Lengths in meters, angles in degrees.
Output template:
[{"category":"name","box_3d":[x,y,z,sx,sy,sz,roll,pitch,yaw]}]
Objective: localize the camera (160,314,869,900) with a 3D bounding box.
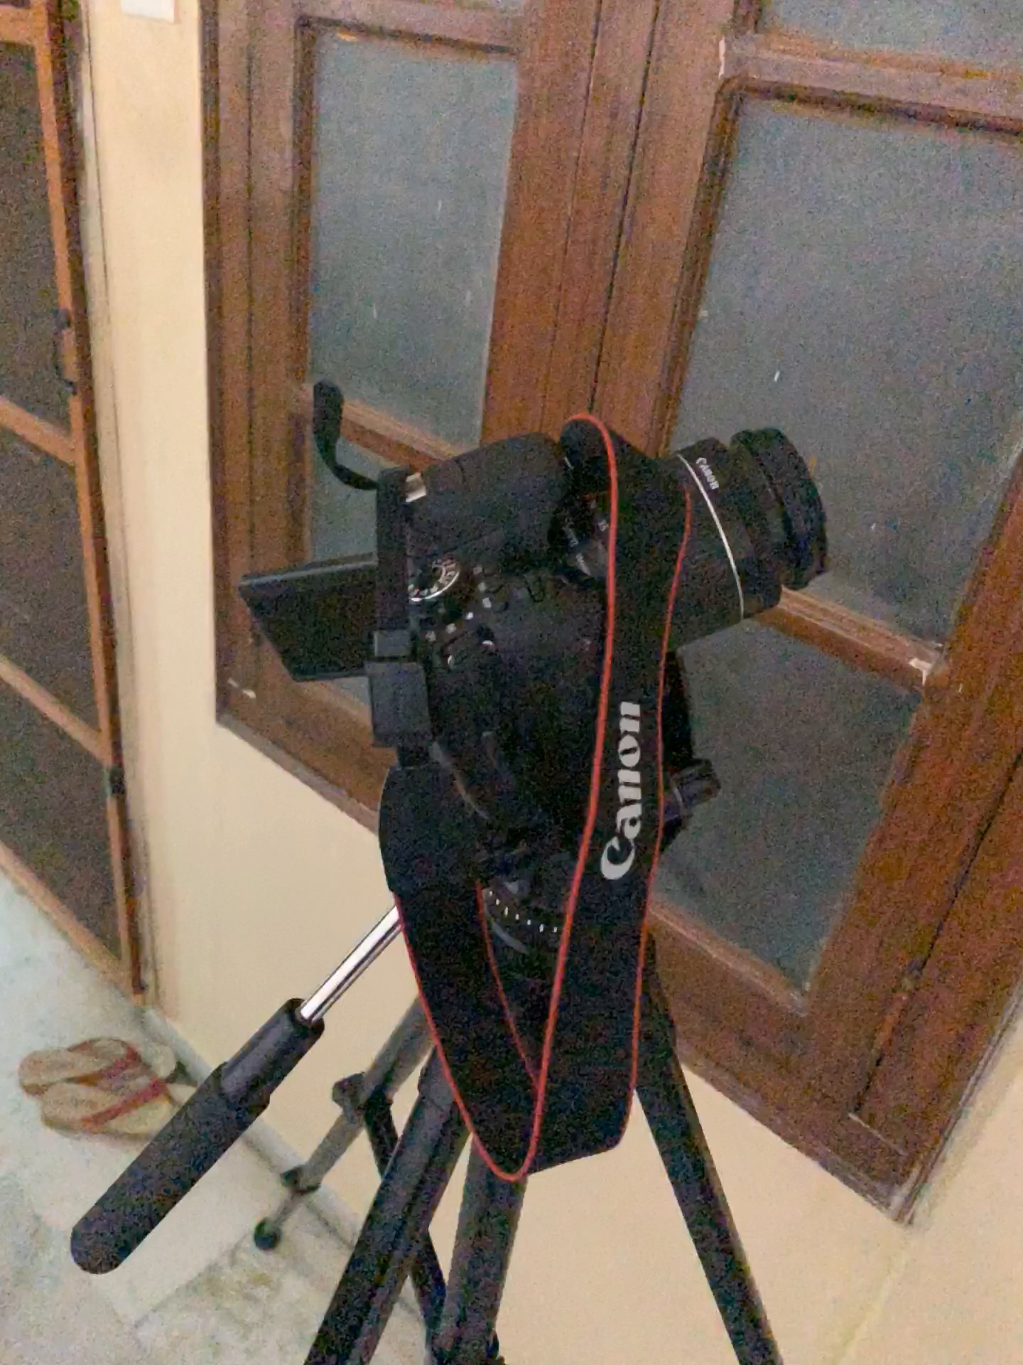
[{"category":"camera","box_3d":[-0.004,-0.039,0.410,0.225,0.100,0.142,-21,35,-2]}]
